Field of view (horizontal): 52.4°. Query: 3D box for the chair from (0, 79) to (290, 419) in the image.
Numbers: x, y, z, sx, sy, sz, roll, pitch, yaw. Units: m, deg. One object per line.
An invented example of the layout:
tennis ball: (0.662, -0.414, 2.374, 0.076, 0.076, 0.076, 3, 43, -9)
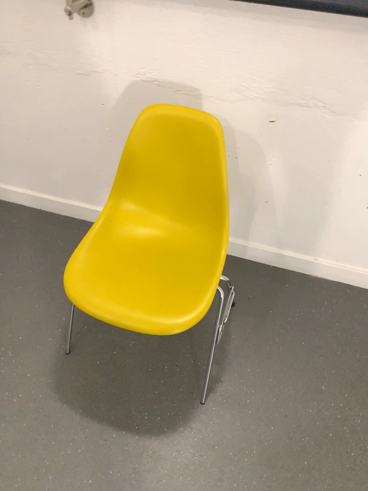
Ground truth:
chair: (-0.110, 0.017, 1.157, 0.621, 0.733, 0.565, 16, 48, 12)
